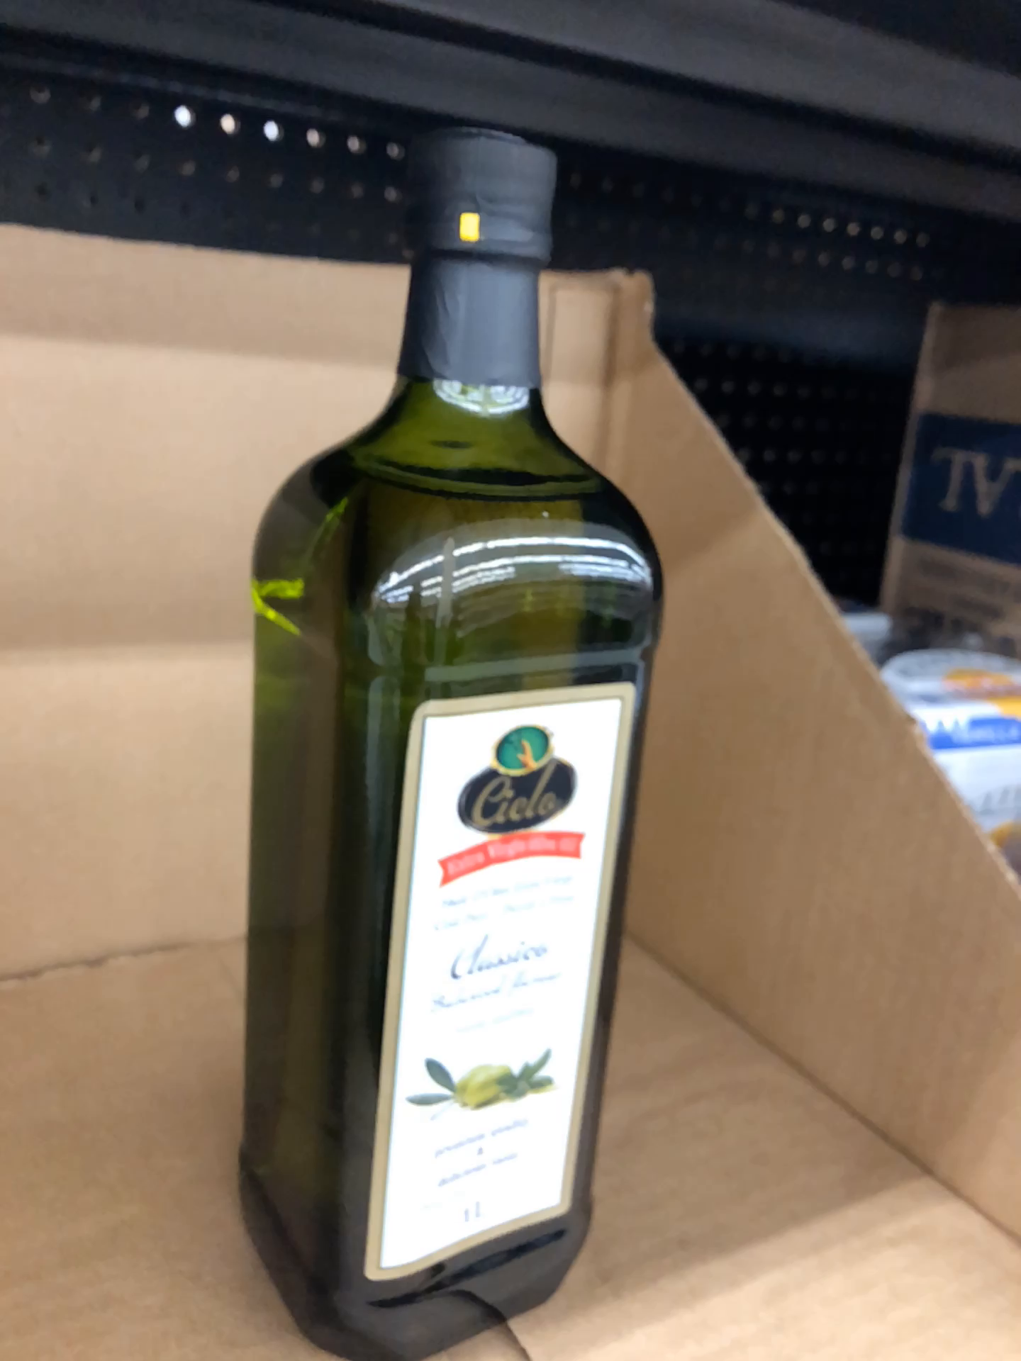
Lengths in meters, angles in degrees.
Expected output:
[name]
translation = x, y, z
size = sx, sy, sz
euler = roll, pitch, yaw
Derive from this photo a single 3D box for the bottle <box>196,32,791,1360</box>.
[bottle]
translation = -0.017, 0.018, 0.281
size = 0.090, 0.288, 0.080
euler = -5, 21, -32
